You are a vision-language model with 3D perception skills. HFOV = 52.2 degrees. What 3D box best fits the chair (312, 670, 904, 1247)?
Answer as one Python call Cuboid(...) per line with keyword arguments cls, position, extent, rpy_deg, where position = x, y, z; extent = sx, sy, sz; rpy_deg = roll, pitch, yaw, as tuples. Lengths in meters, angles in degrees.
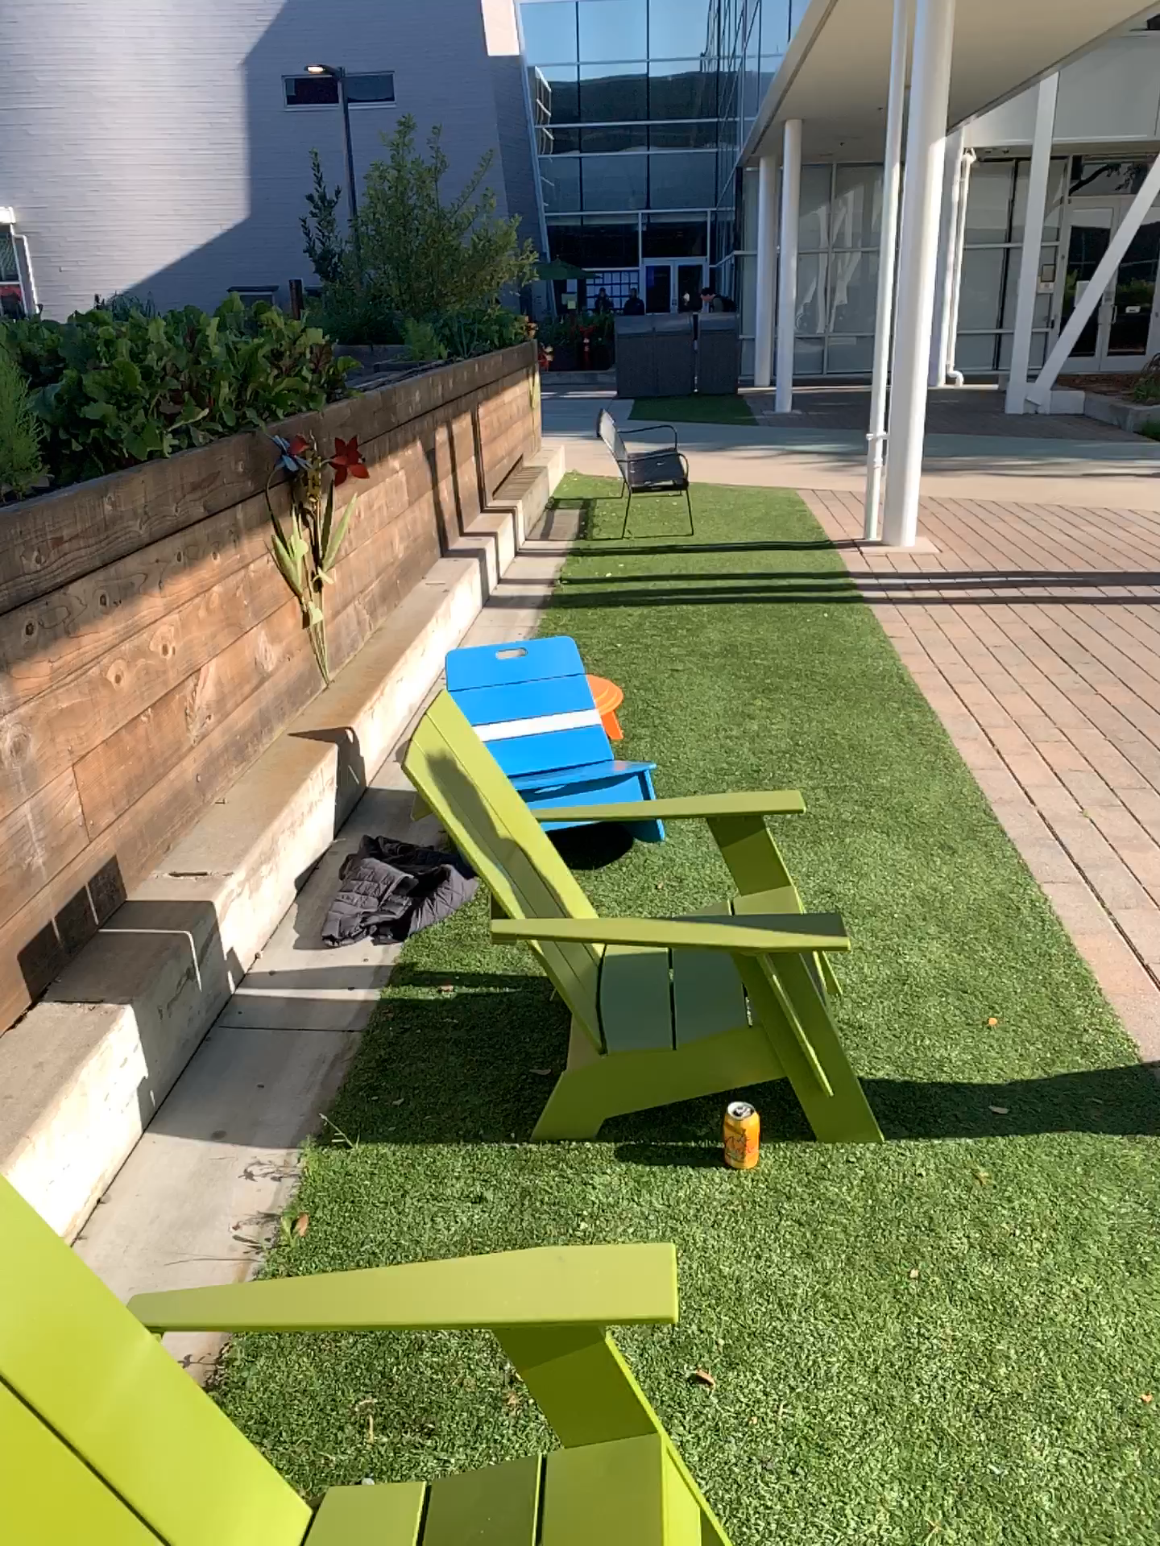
Cuboid(cls="chair", position=(0.079, 0.334, 2.554), extent=(1.000, 0.896, 0.854), rpy_deg=(1, 21, 5))
